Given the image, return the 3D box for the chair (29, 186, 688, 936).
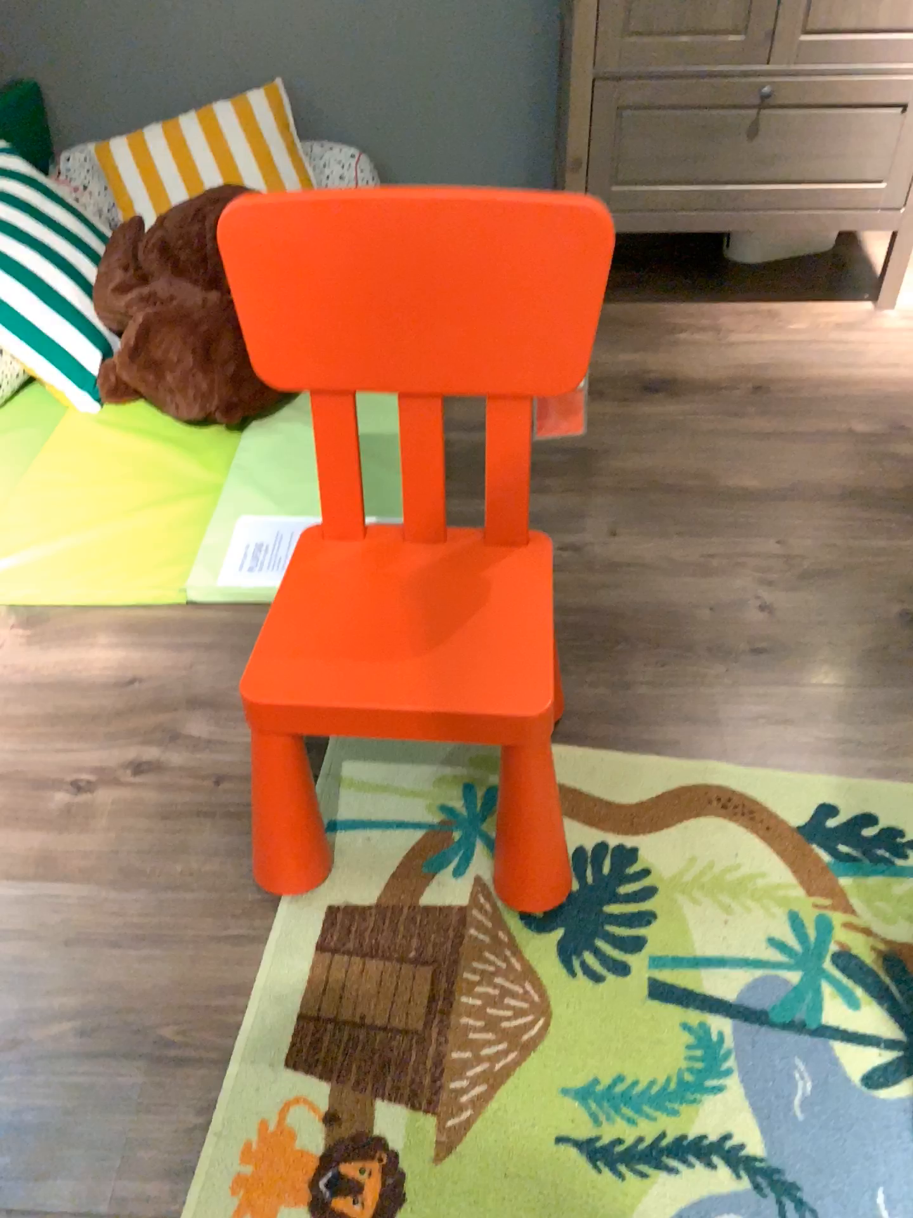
[{"bbox_3d":[-0.042,-0.051,0.982,0.430,0.598,0.492,2,42,5],"label":"chair"}]
